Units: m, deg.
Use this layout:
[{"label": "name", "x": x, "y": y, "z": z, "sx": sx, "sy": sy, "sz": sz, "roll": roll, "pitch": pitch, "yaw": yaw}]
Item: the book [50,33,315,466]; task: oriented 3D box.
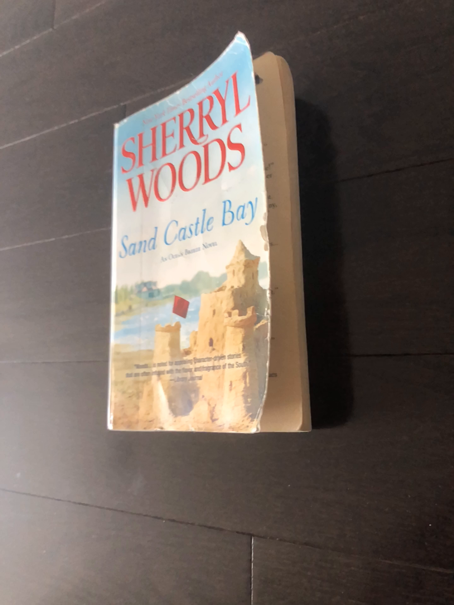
[{"label": "book", "x": -0.026, "y": -0.016, "z": 0.234, "sx": 0.120, "sy": 0.037, "sz": 0.161, "roll": -6, "pitch": 81, "yaw": 34}]
